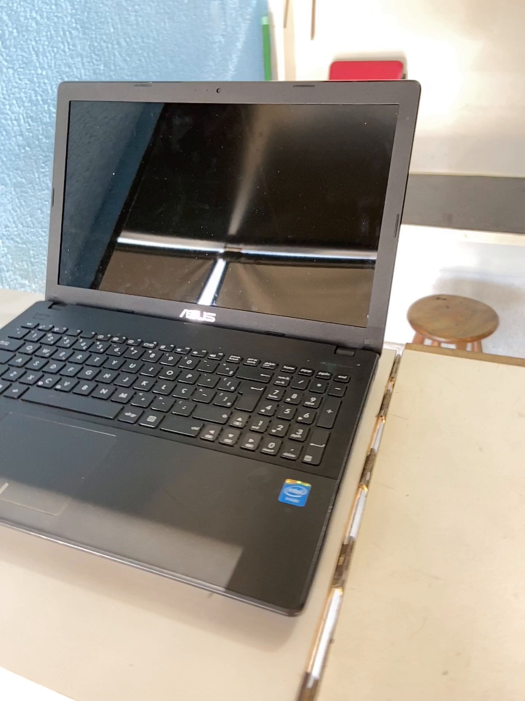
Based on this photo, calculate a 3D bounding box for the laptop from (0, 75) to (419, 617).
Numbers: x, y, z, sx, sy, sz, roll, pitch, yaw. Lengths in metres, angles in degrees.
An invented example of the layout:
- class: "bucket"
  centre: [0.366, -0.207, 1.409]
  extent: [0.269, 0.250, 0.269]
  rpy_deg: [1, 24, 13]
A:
- class: "laptop"
  centre: [-0.098, -0.070, 0.428]
  extent: [0.367, 0.200, 0.363]
  rpy_deg: [9, 37, 20]
